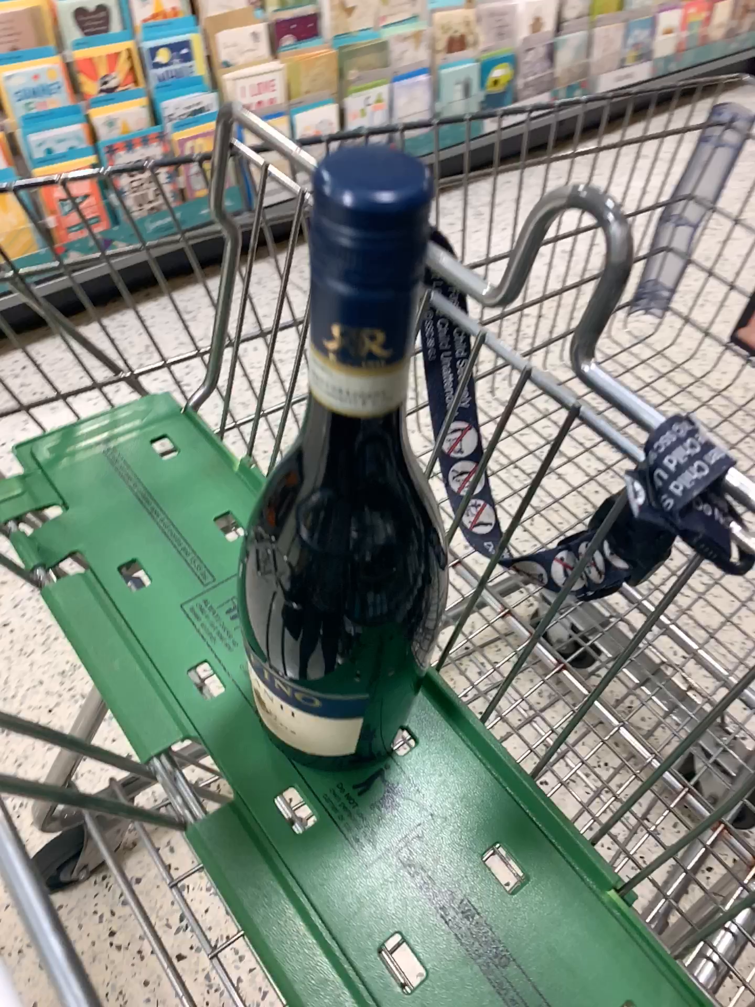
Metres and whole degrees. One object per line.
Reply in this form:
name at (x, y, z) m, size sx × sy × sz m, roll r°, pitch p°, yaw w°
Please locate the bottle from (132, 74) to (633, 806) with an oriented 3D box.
bottle at (-0.010, 0.004, 0.295) m, size 0.090 × 0.267 × 0.090 m, roll 3°, pitch 49°, yaw -4°
